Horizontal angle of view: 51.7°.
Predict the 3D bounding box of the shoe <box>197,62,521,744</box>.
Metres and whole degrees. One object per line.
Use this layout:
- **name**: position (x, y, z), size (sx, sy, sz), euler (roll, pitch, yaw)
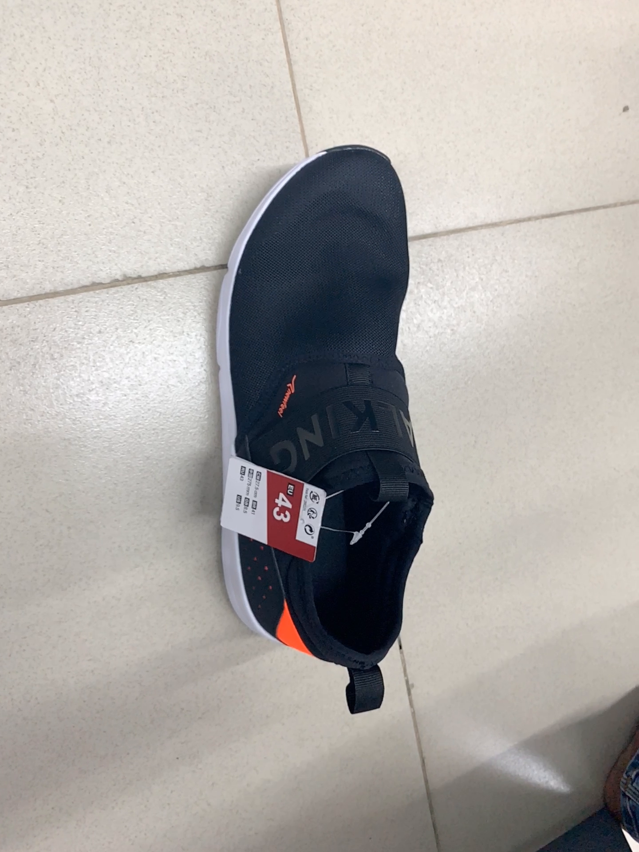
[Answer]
- **shoe**: position (0.011, -0.008, 0.347), size (0.110, 0.120, 0.280), euler (2, 94, -25)
